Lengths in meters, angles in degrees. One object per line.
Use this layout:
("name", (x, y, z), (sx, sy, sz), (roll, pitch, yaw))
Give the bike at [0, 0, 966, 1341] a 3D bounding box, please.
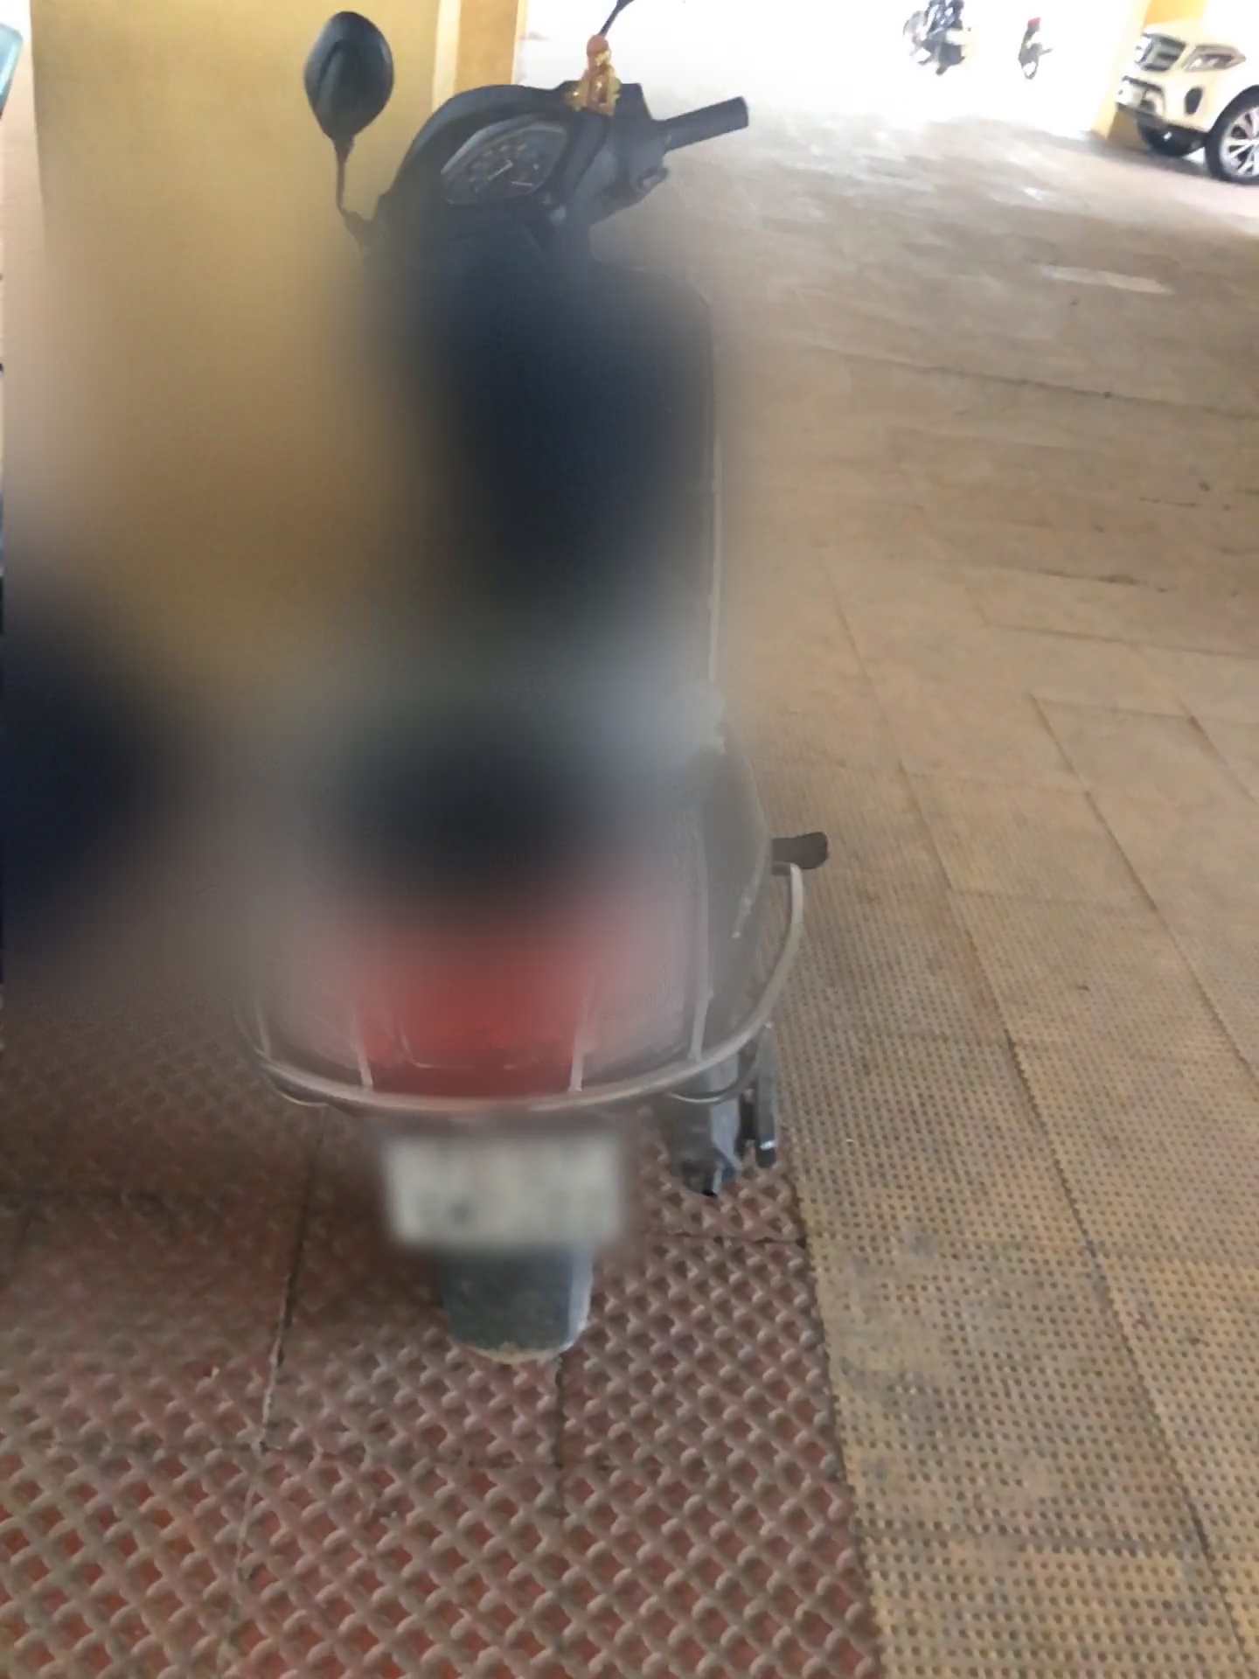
("bike", (-0.276, -0.417, 1.674), (0.621, 0.882, 1.668), (4, 35, -10))
